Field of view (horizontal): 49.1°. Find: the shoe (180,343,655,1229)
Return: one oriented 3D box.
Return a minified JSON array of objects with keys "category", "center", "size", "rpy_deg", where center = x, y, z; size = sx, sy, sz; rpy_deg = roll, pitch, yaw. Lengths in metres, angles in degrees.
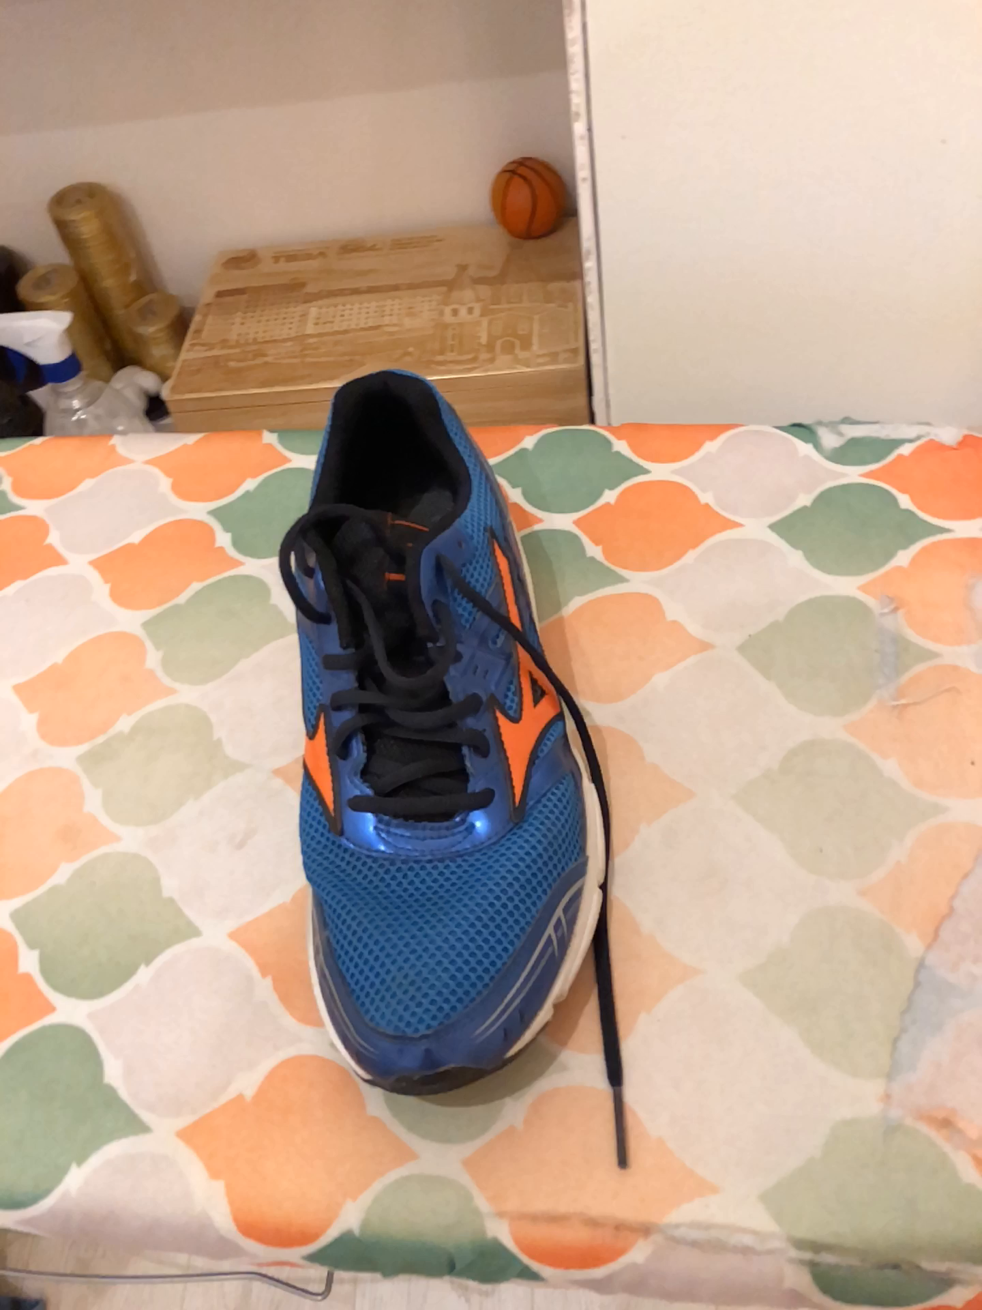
[{"category":"shoe","center":[-0.023,0.029,0.410],"size":[0.120,0.109,0.312],"rpy_deg":[-8,52,4]}]
